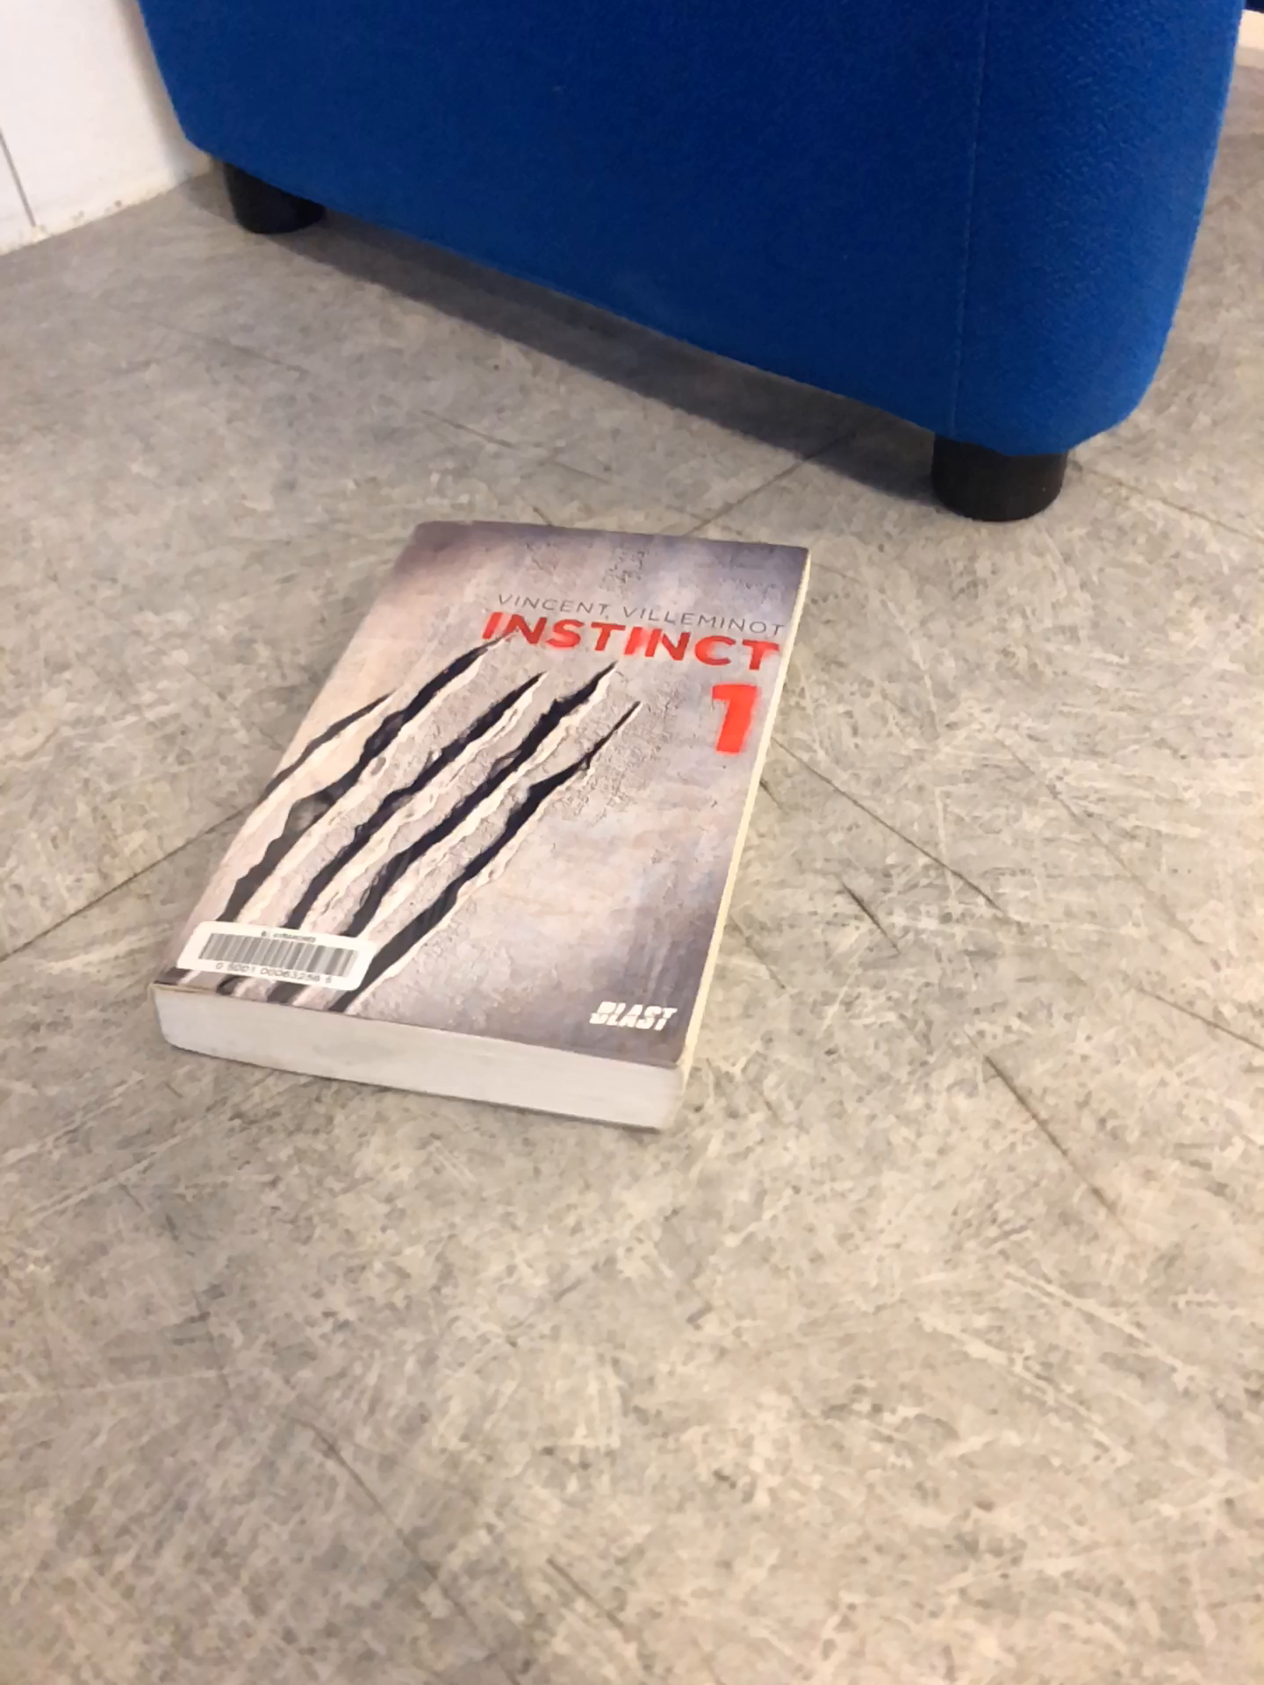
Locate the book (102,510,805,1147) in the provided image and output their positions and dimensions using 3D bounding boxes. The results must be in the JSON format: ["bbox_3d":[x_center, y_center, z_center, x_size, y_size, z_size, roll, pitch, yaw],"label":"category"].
[{"bbox_3d":[-0.036,-0.021,0.407,0.142,0.028,0.211,7,47,12],"label":"book"}]
